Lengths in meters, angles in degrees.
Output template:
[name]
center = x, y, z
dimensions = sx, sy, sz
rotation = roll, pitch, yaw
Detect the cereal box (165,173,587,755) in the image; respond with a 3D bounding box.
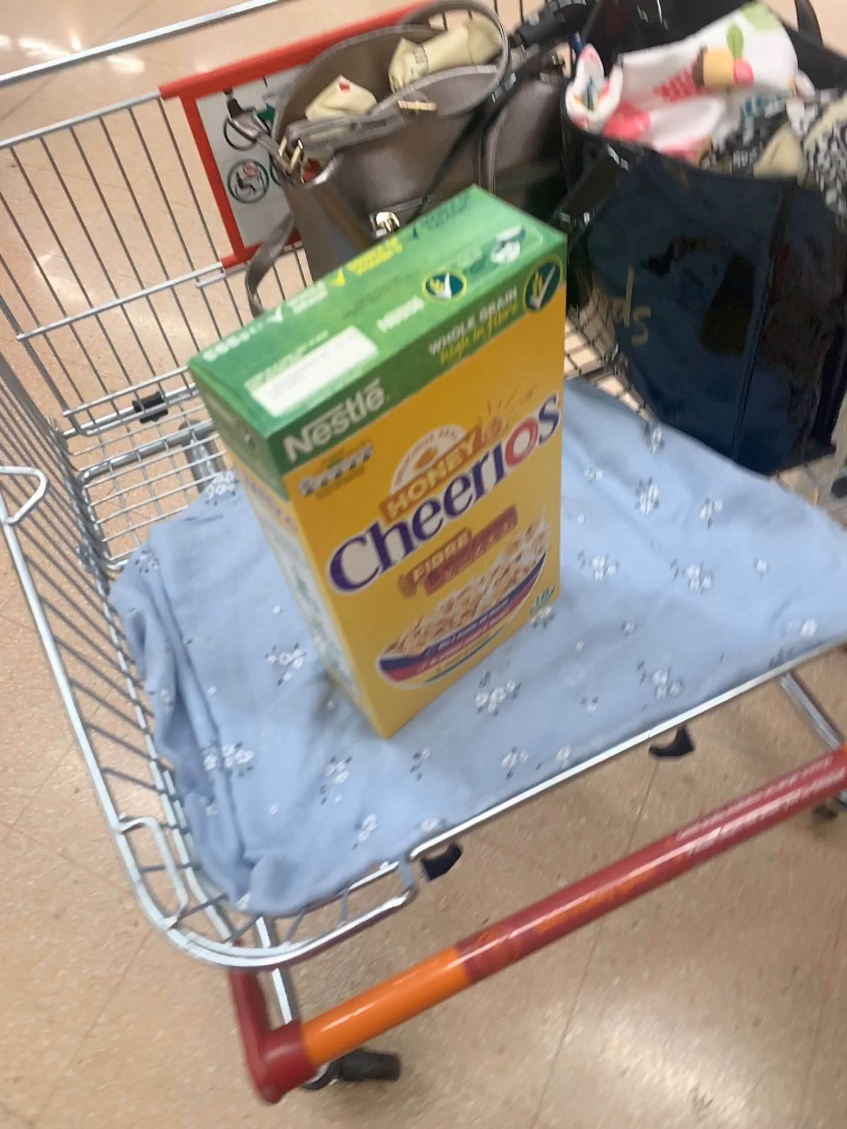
[cereal box]
center = -0.003, -0.037, 0.572
dimensions = 0.210, 0.347, 0.080
rotation = -38, 59, -18
